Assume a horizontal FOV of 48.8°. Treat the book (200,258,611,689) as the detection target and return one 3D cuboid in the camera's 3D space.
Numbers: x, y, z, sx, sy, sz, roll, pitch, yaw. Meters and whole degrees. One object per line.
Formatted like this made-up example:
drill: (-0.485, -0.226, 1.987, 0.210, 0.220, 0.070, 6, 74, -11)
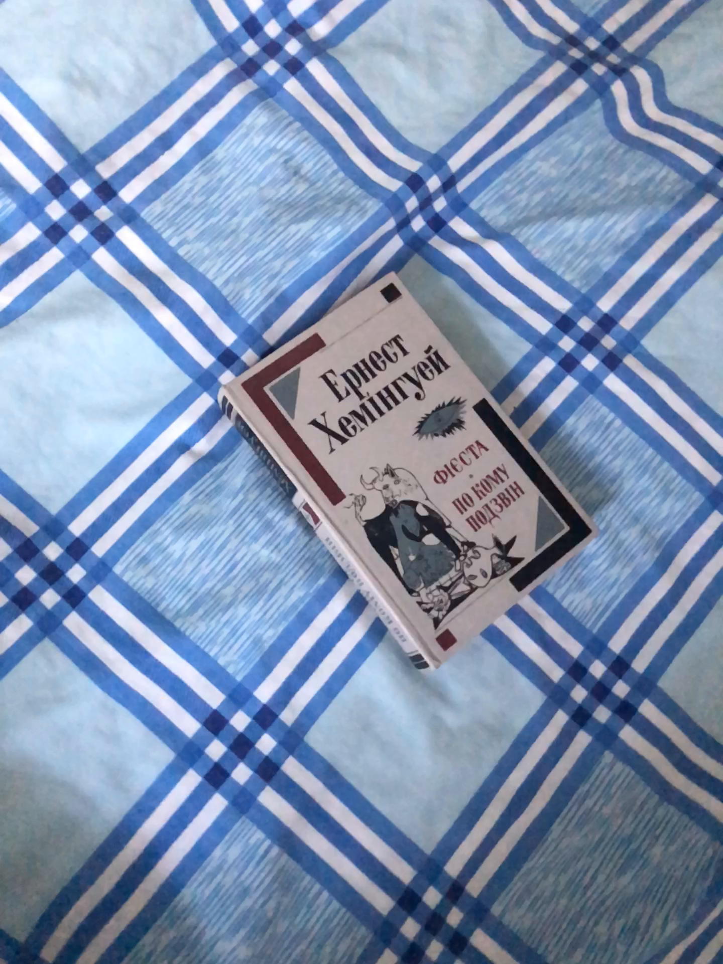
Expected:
book: (0.025, -0.007, 0.494, 0.142, 0.040, 0.220, -36, 85, -11)
